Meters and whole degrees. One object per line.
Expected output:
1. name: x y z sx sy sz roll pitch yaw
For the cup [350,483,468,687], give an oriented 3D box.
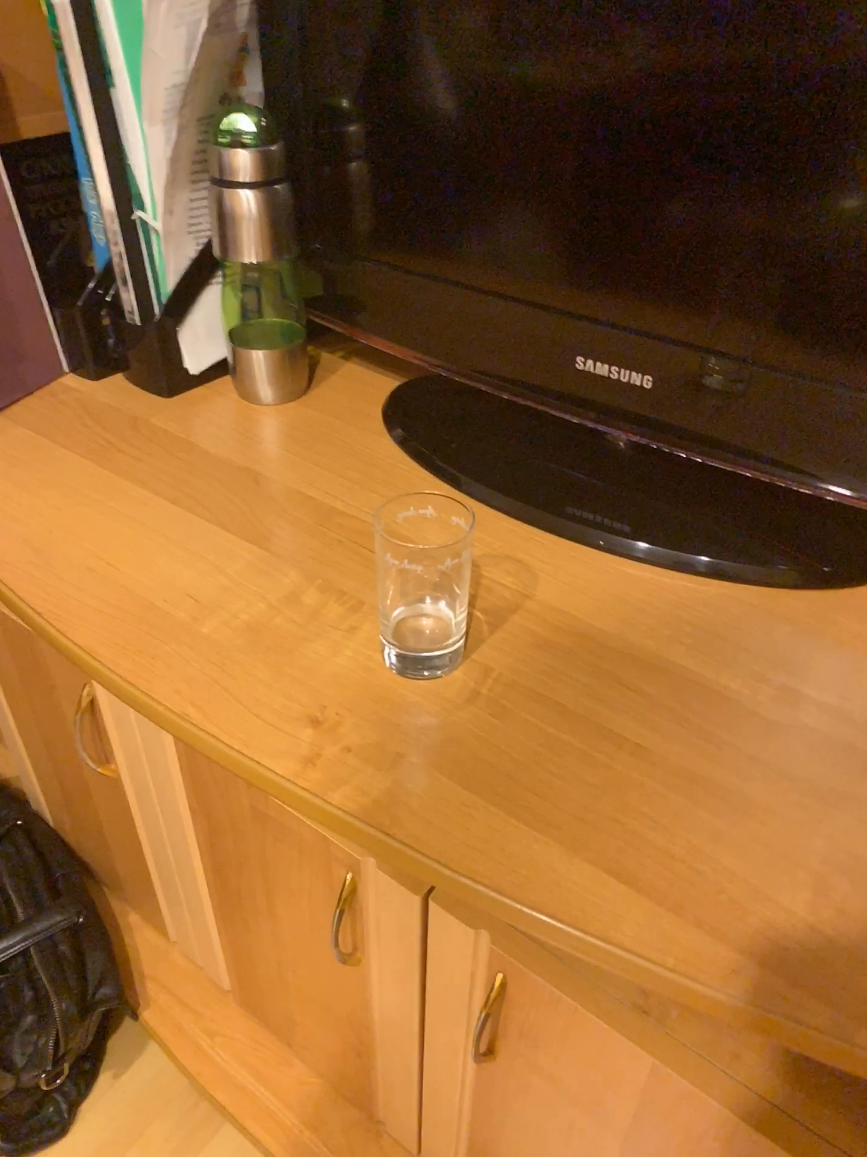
1. cup: -0.014 0.004 0.505 0.060 0.099 0.061 0 37 0
